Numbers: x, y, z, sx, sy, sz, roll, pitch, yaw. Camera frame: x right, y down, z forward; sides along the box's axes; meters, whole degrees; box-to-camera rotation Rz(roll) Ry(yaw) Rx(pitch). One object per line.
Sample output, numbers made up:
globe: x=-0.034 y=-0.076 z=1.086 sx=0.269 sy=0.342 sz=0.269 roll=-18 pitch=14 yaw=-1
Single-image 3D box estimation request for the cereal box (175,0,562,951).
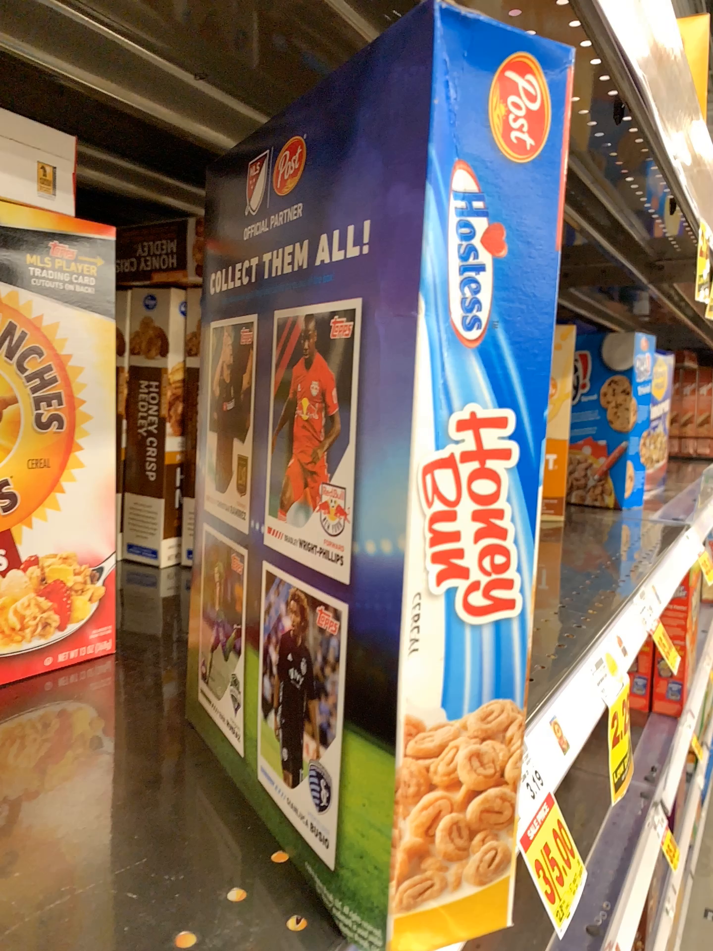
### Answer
cereal box: x=-0.018 y=-0.007 z=0.305 sx=0.060 sy=0.280 sz=0.200 roll=-1 pitch=7 yaw=-28
